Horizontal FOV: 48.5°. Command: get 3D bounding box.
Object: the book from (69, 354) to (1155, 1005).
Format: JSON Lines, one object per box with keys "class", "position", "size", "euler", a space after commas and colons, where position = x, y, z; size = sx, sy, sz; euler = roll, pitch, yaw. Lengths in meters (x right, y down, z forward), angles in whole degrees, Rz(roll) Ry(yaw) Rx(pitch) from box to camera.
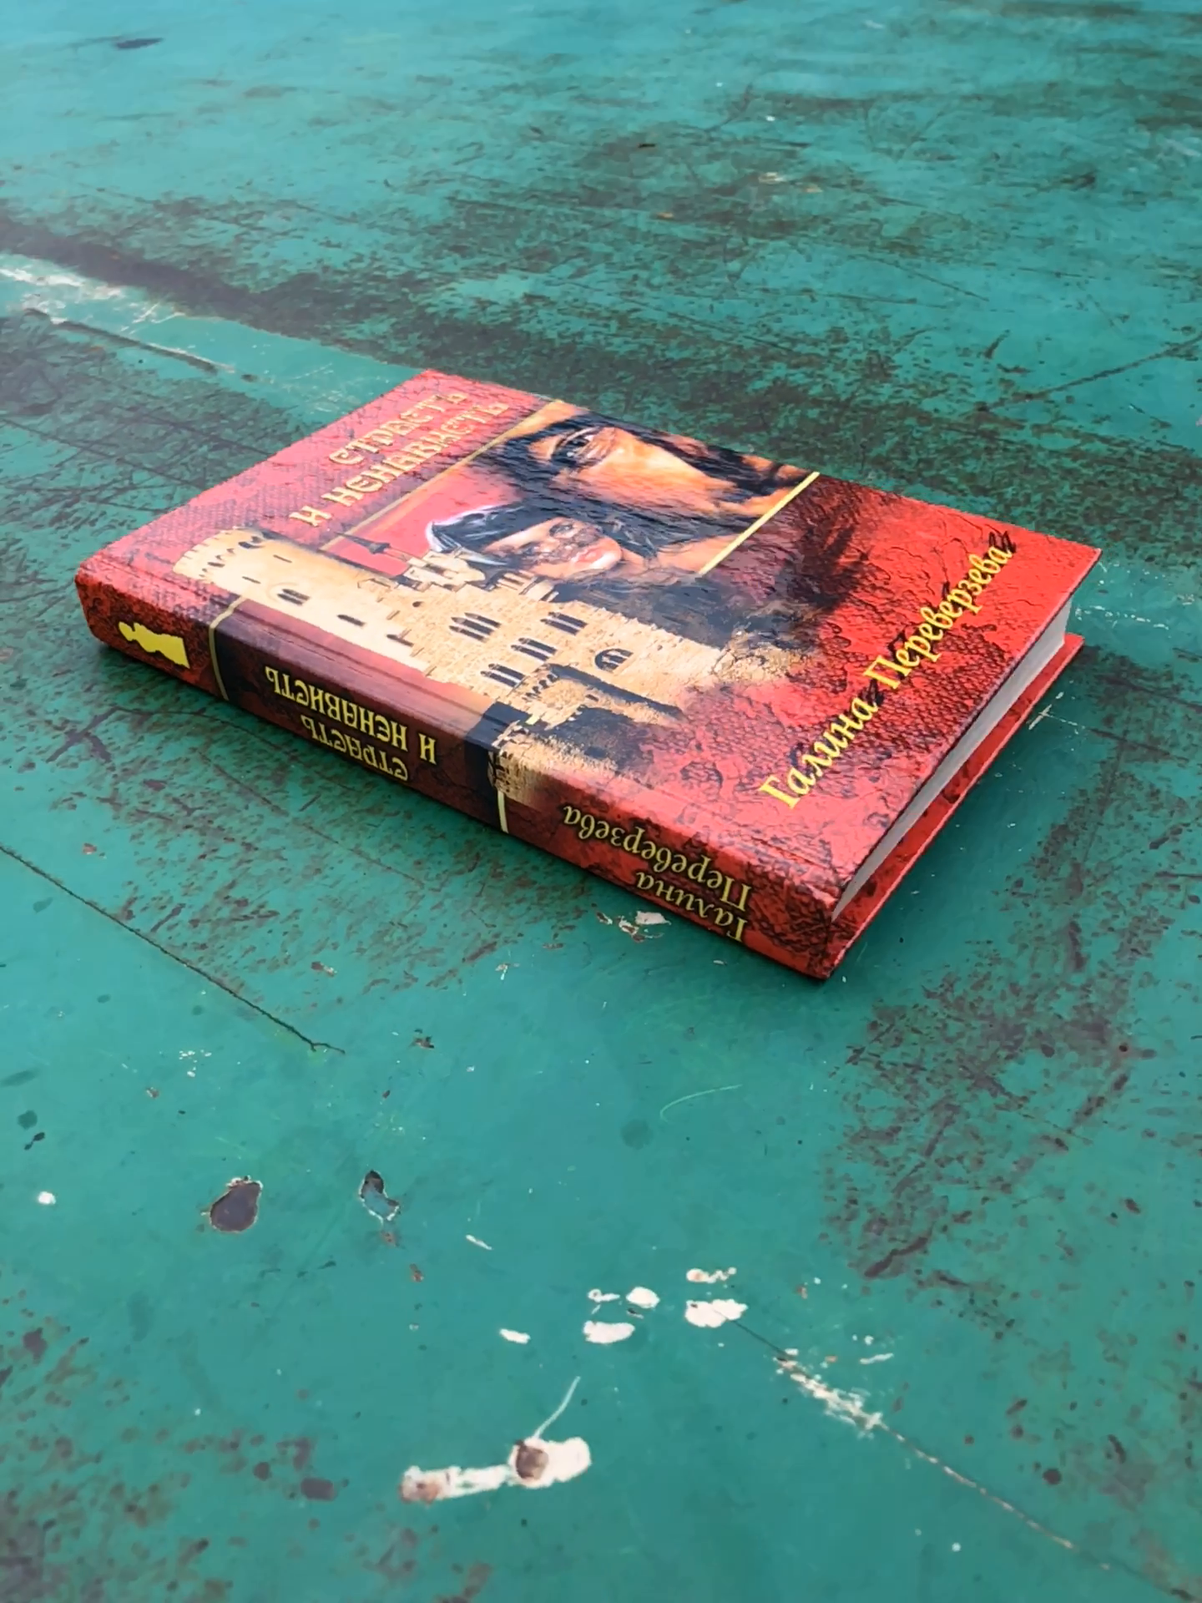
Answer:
{"class": "book", "position": [0.002, -0.050, 0.322], "size": [0.210, 0.030, 0.144], "euler": [23, 45, 27]}
